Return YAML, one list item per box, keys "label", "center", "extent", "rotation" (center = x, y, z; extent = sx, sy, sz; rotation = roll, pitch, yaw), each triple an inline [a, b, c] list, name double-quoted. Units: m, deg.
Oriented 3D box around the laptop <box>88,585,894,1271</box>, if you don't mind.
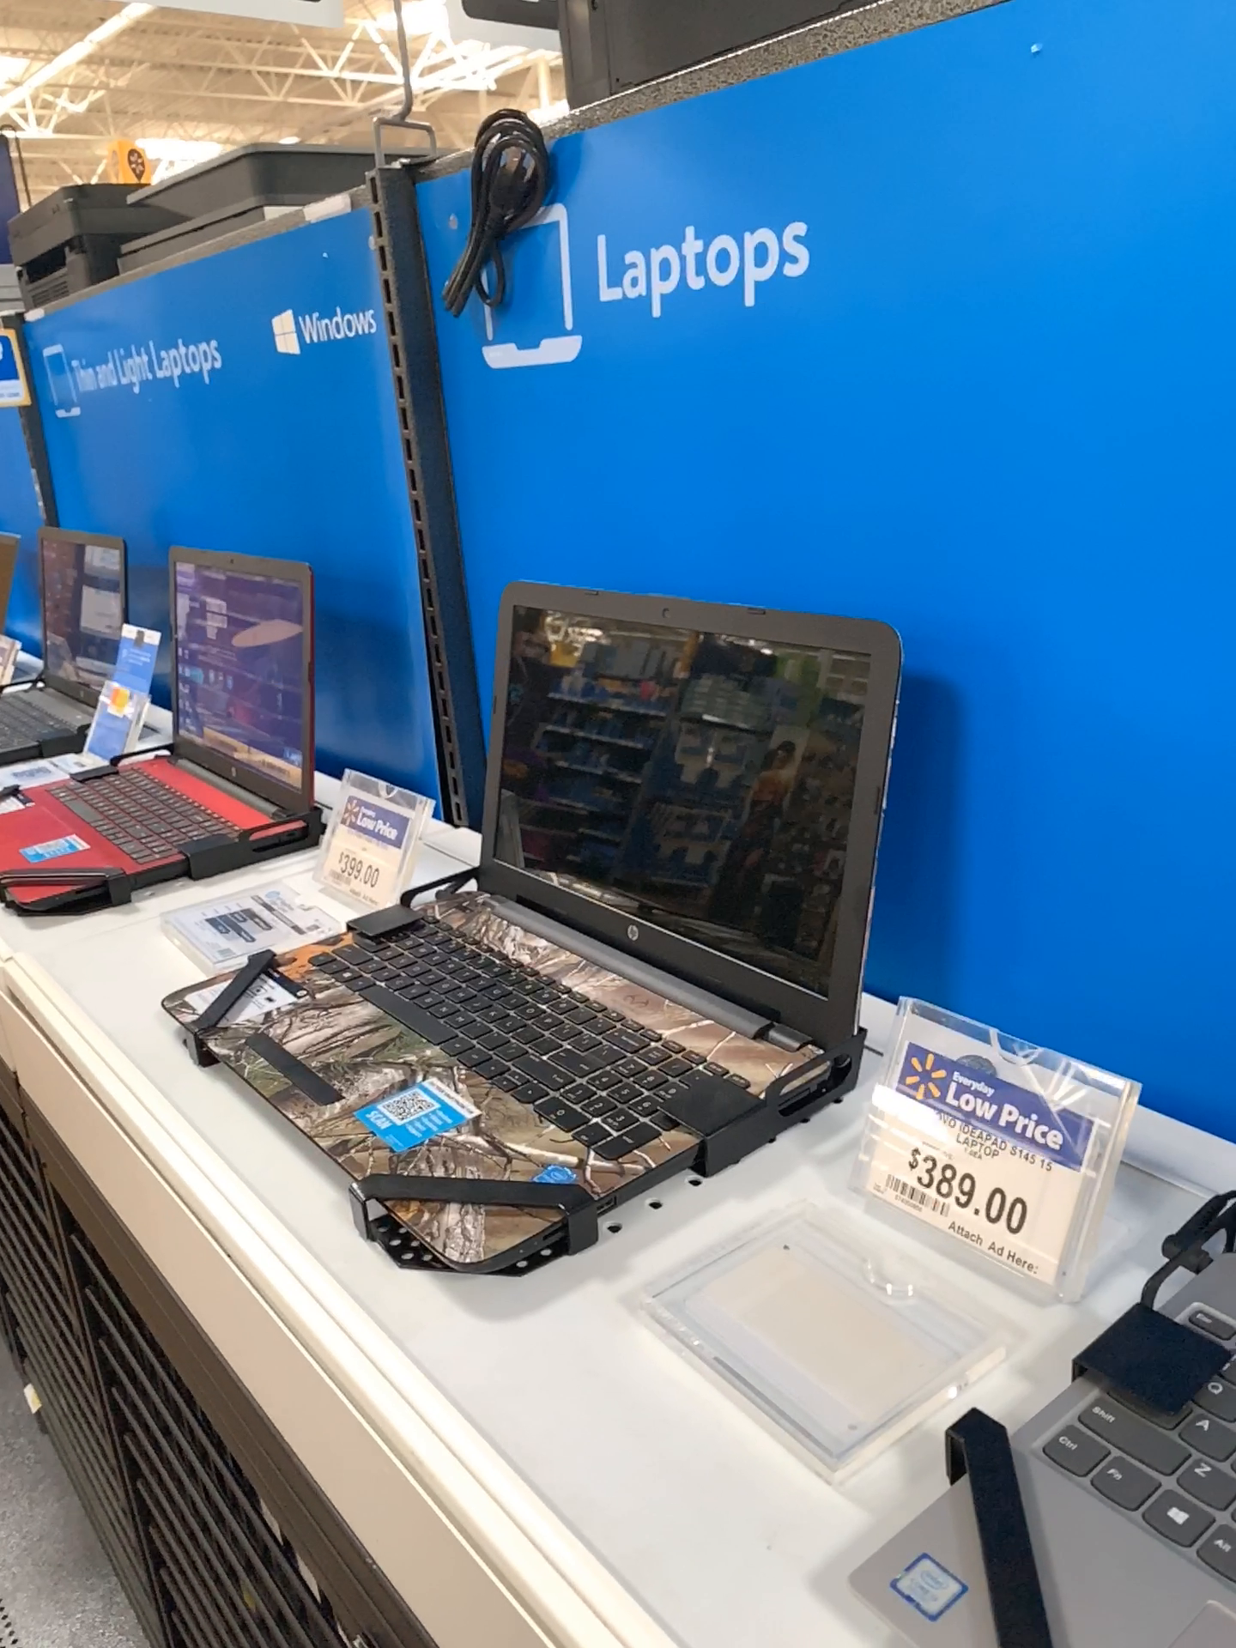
- label: "laptop"
  center: [-0.081, 0.008, 0.747]
  extent: [0.303, 0.227, 0.375]
  rotation: [-18, 23, -35]
